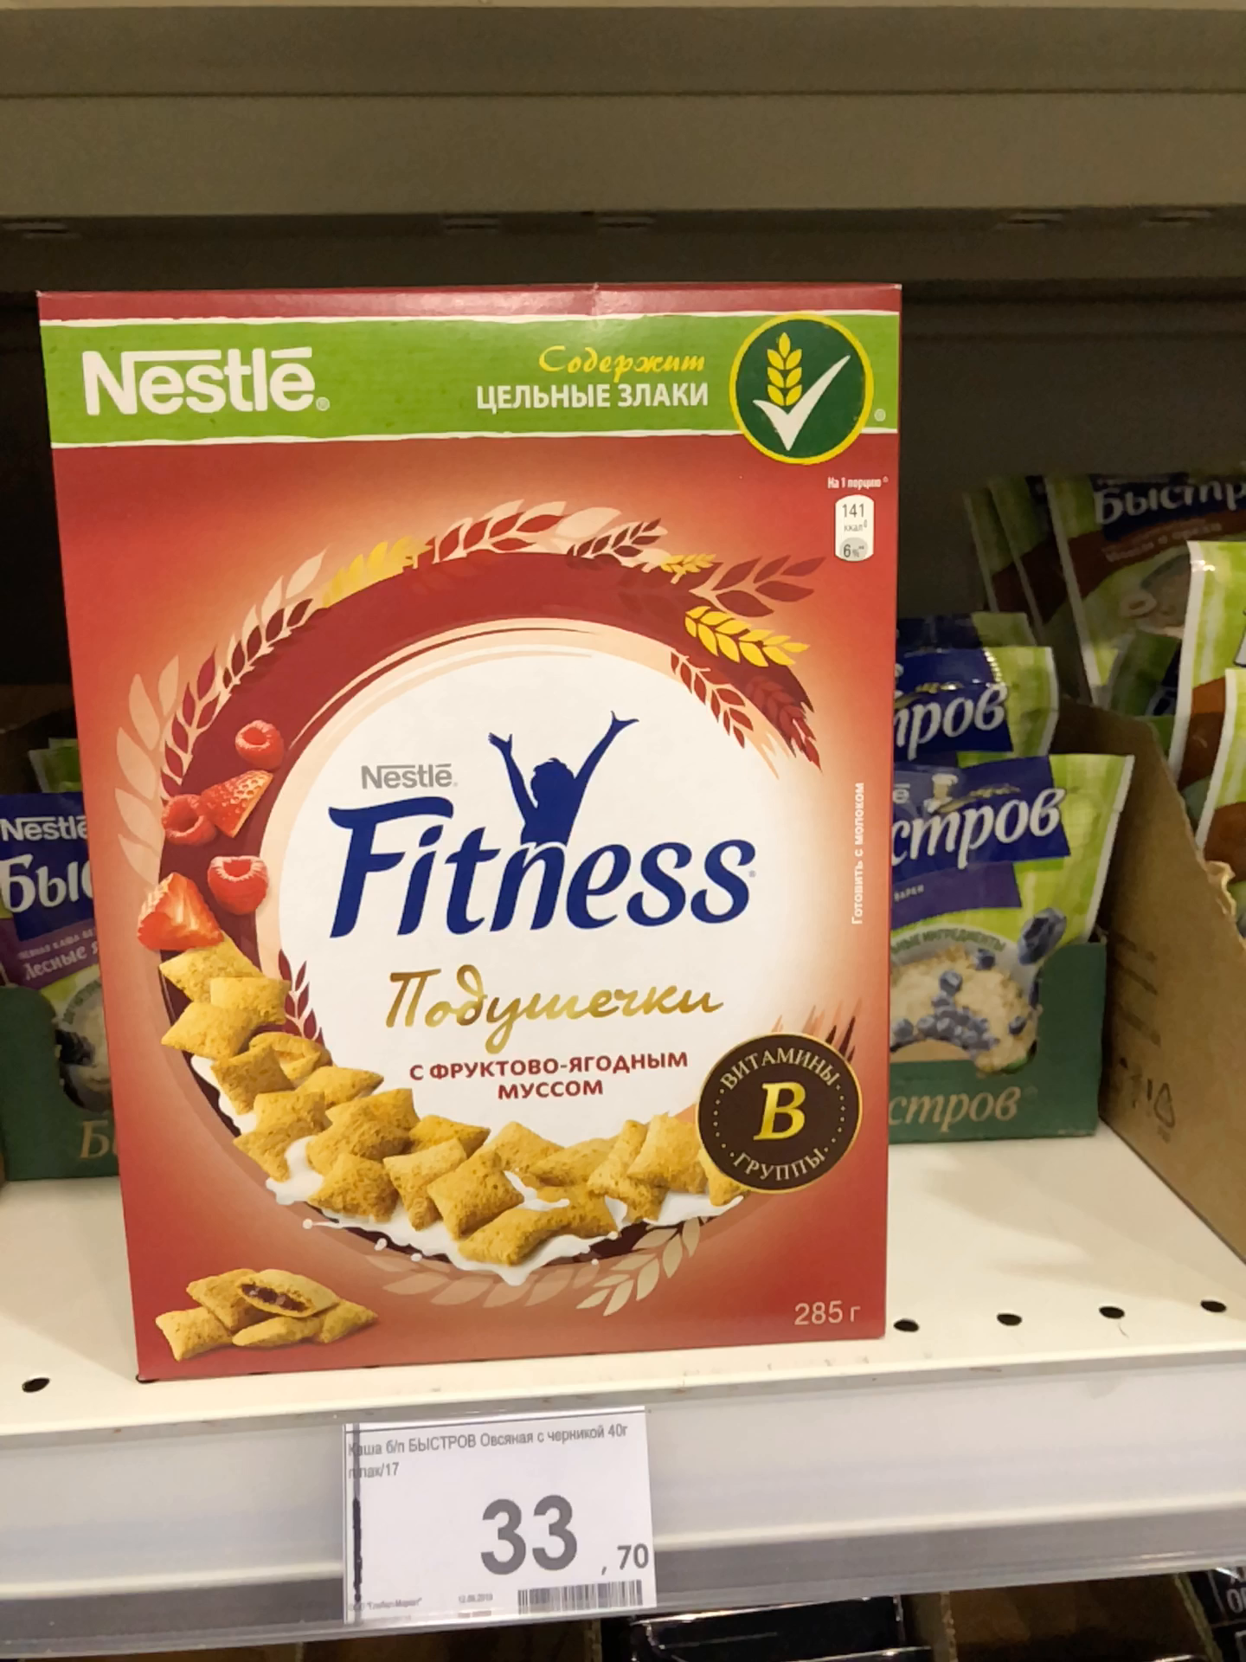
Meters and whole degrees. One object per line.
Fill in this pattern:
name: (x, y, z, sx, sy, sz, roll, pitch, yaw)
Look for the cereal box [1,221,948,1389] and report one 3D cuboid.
cereal box: (-0.025, -0.004, 0.310, 0.180, 0.239, 0.050, -2, 11, -4)
